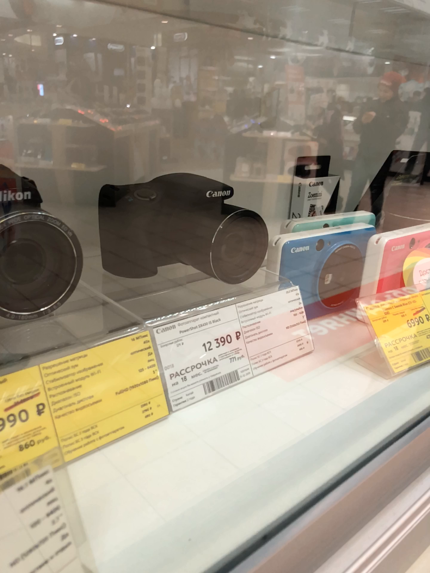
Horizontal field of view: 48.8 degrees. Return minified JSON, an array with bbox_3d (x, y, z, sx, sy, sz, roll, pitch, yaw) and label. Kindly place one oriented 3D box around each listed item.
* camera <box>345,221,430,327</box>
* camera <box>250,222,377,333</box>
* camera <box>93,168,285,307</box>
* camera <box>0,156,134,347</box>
[{"bbox_3d":[0.172,-0.015,0.427,0.118,0.073,0.028,-12,25,-35],"label":"camera"},{"bbox_3d":[0.087,-0.012,0.412,0.118,0.073,0.028,-12,25,-35],"label":"camera"},{"bbox_3d":[-0.021,-0.044,0.348,0.100,0.070,0.093,-13,26,-37],"label":"camera"},{"bbox_3d":[-0.113,-0.030,0.267,0.100,0.073,0.093,-13,26,-37],"label":"camera"}]
